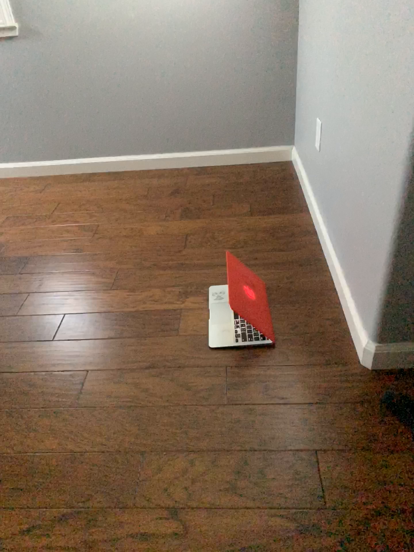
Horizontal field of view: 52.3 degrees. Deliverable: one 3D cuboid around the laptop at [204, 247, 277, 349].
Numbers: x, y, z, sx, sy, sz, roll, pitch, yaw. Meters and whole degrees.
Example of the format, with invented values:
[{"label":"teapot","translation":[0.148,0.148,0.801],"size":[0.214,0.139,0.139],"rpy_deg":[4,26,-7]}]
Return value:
[{"label":"laptop","translation":[0.098,0.059,1.313],"size":[0.197,0.139,0.303],"rpy_deg":[-4,36,4]}]
